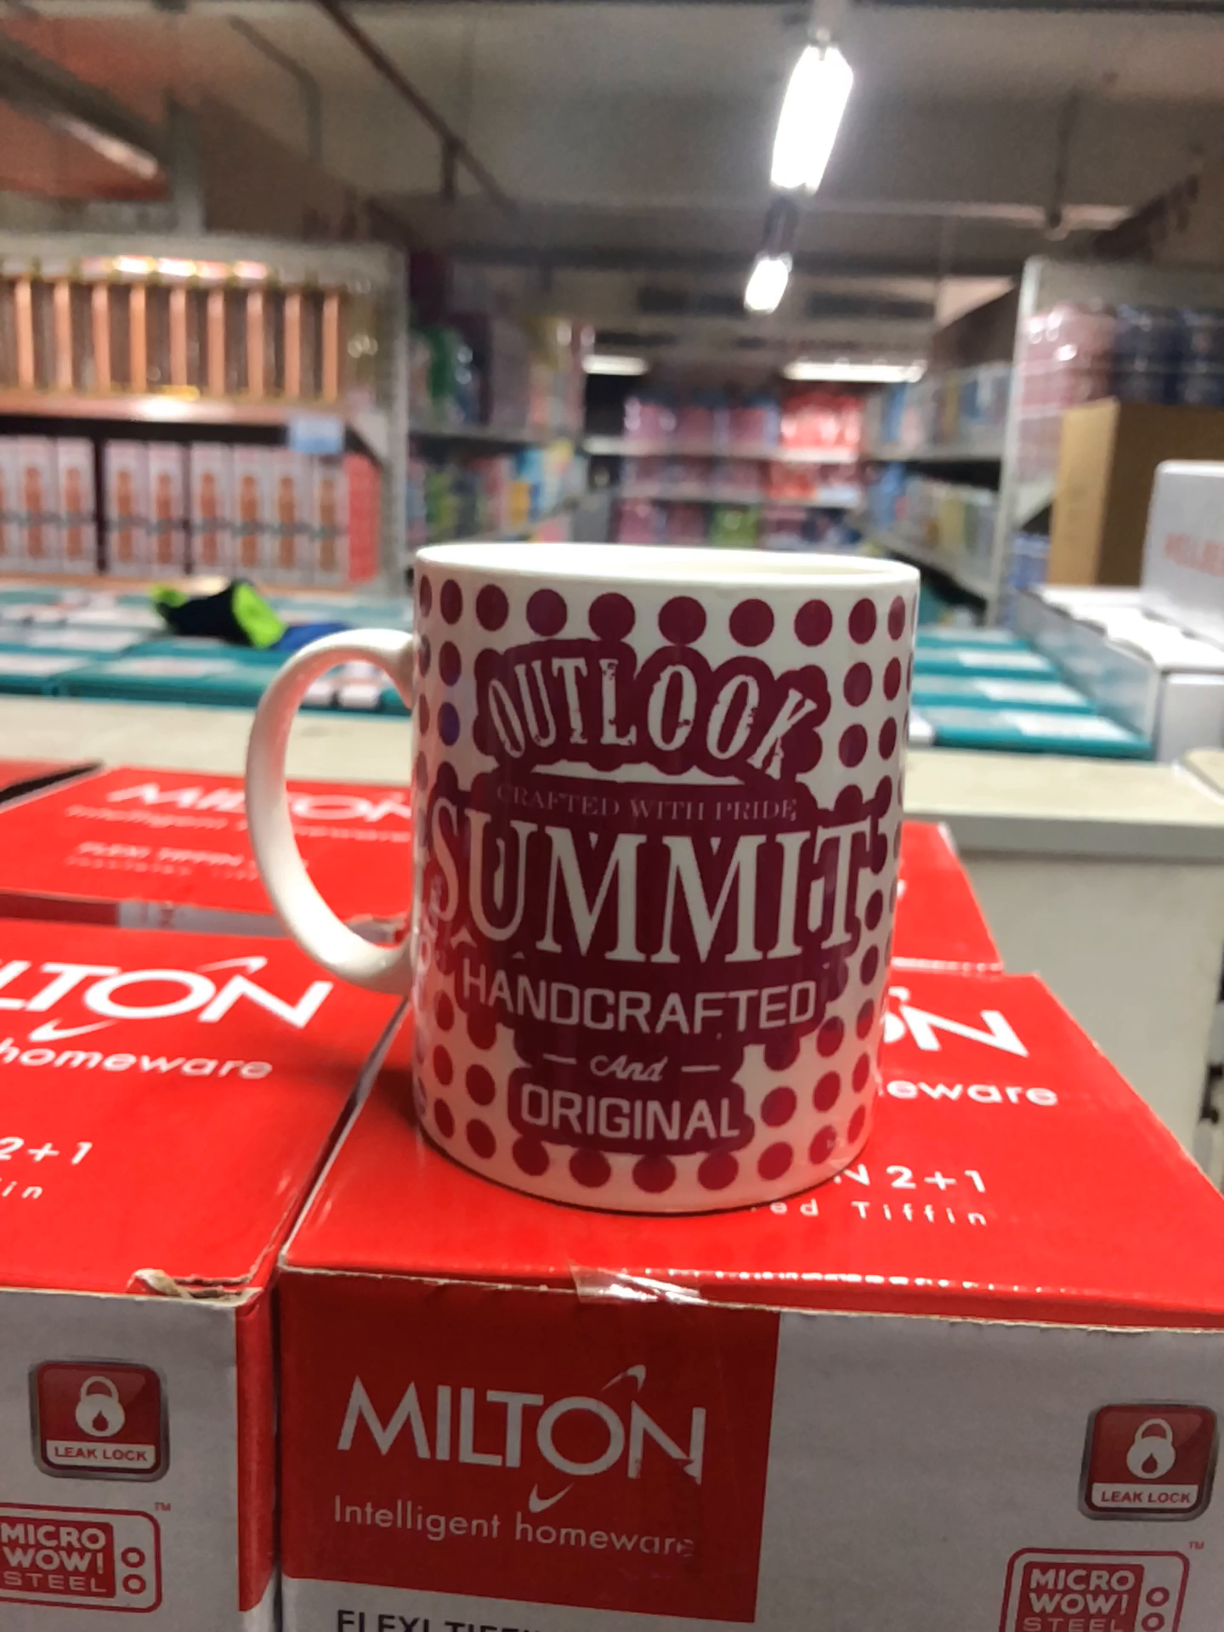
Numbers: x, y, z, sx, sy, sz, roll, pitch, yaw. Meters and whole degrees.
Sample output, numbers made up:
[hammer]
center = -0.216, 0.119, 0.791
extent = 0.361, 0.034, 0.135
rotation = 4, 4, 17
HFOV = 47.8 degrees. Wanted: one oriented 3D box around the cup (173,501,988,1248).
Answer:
[cup]
center = -0.004, 0.002, 0.236
extent = 0.110, 0.100, 0.080
rotation = 4, 14, 5
